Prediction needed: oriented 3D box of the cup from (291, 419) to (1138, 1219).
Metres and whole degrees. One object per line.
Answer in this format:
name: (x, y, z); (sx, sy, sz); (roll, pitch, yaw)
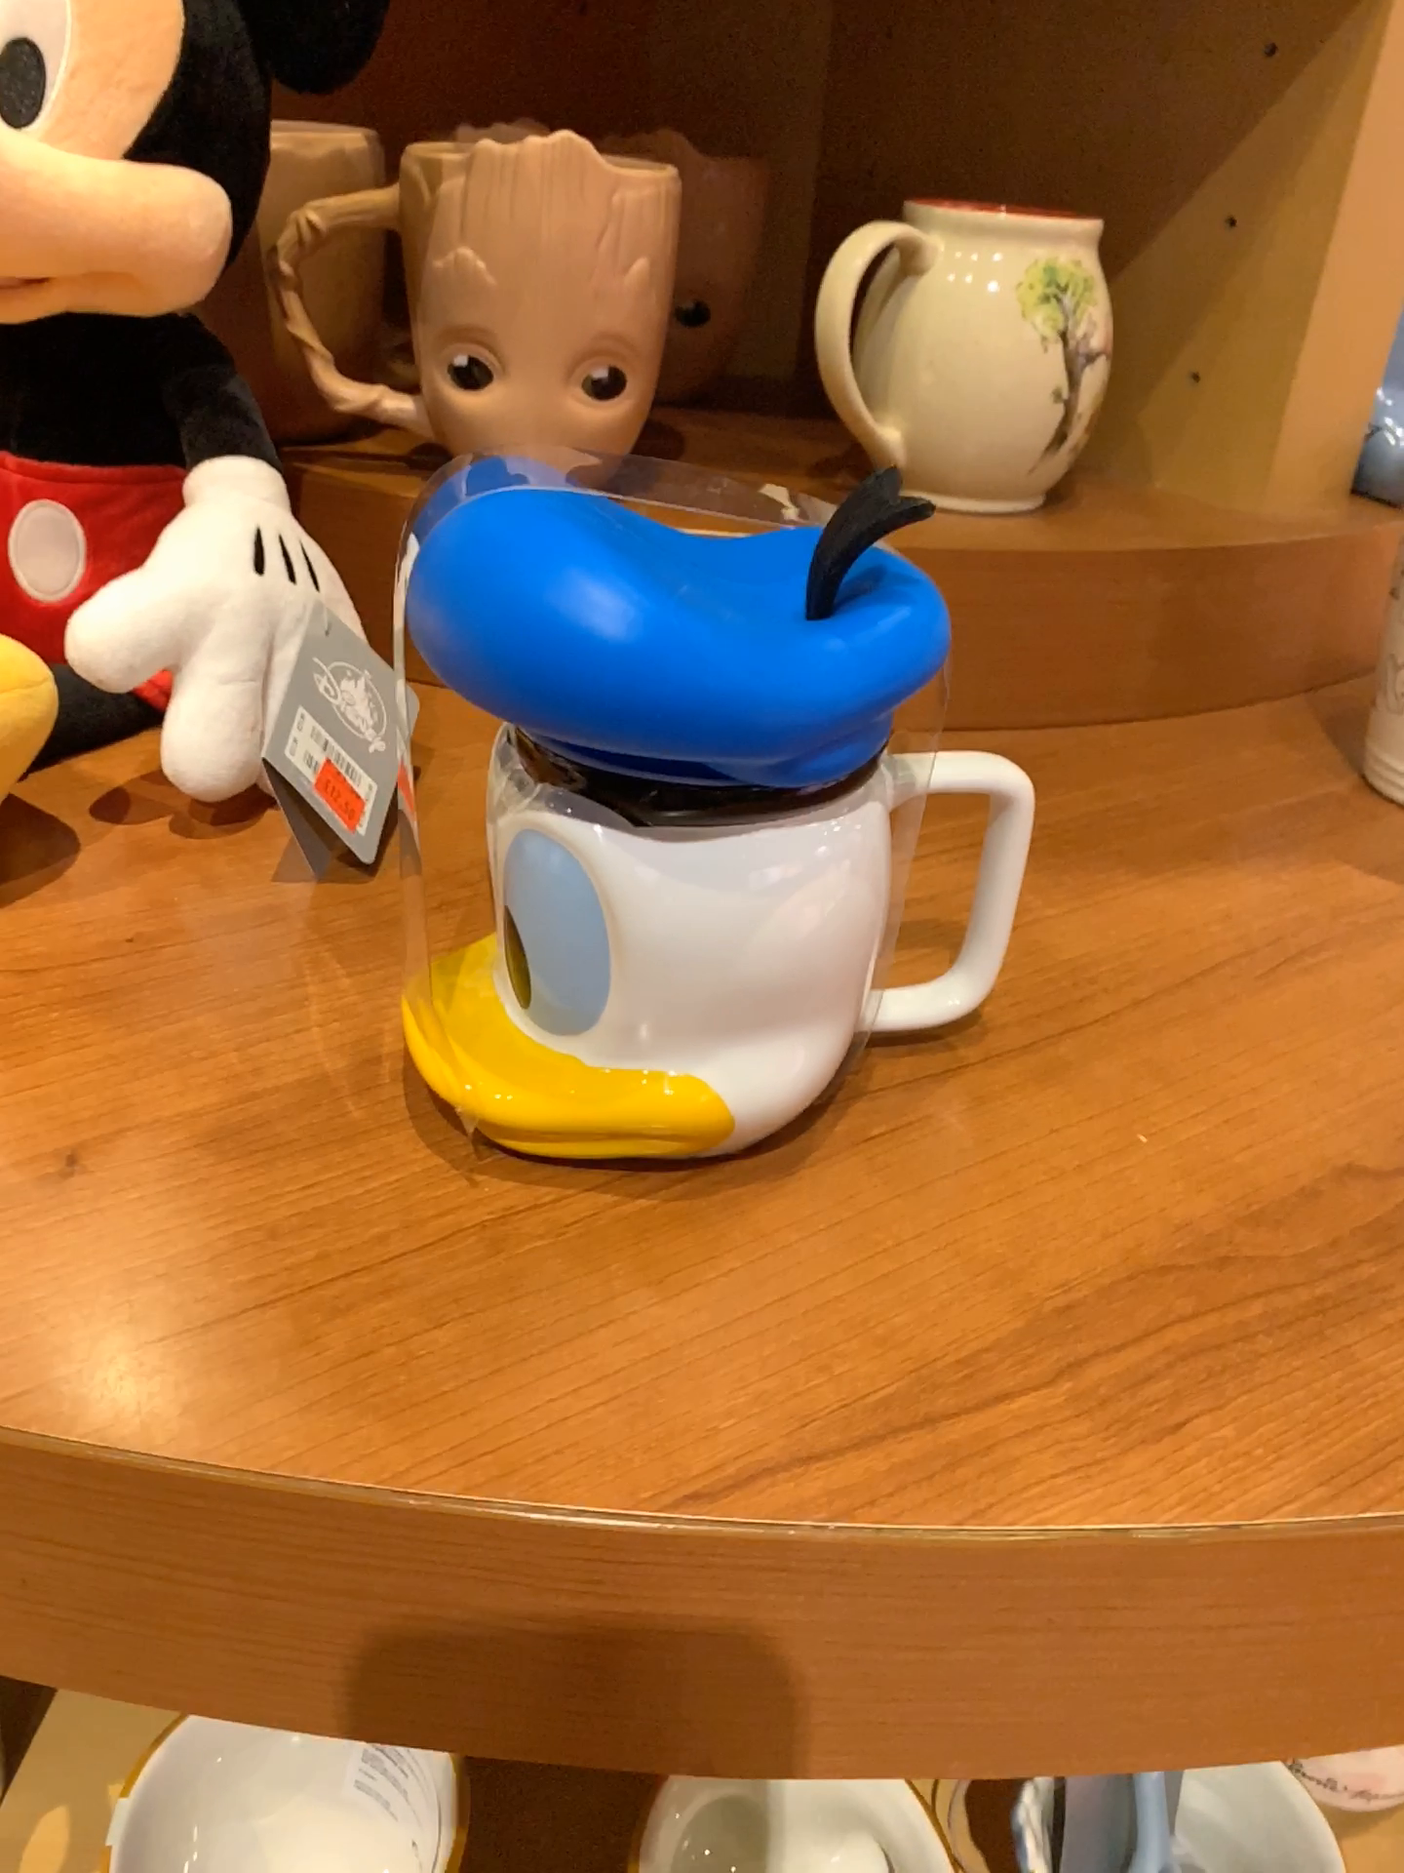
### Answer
cup: (-0.006, -0.034, 0.327); (0.149, 0.132, 0.106); (-7, 32, -13)
